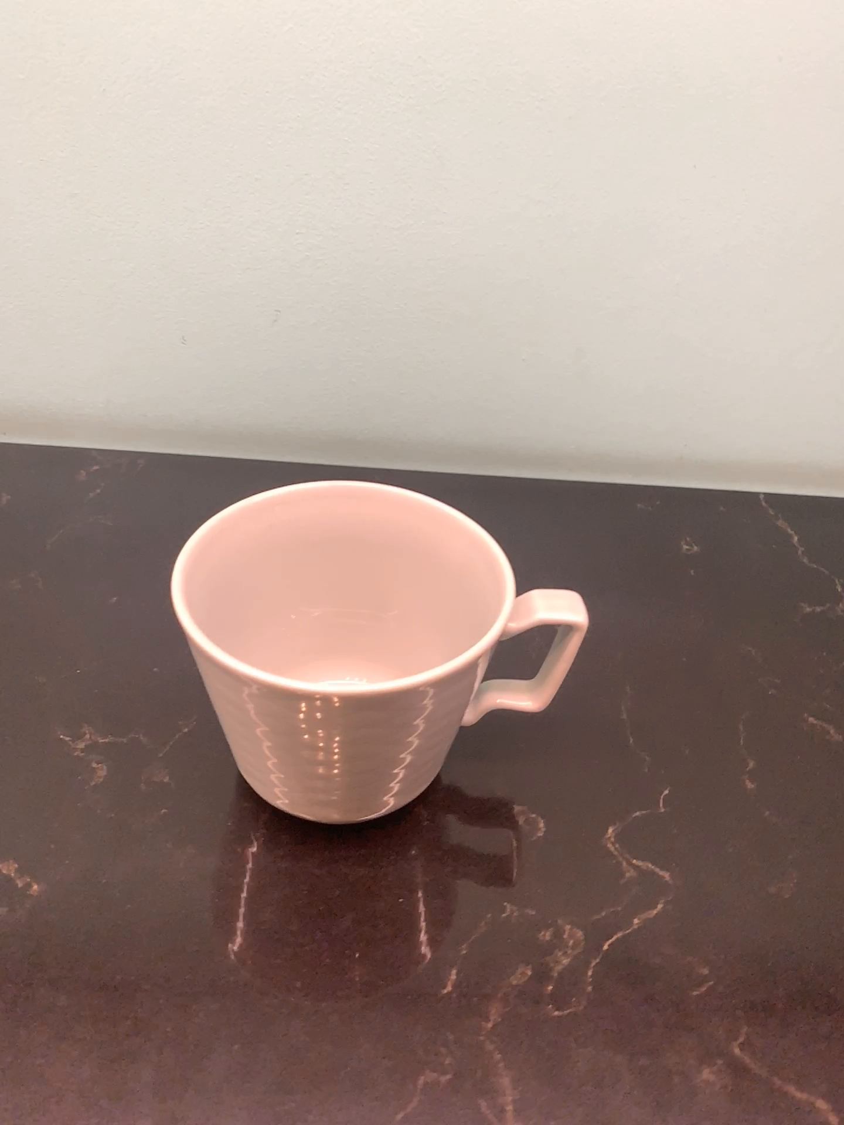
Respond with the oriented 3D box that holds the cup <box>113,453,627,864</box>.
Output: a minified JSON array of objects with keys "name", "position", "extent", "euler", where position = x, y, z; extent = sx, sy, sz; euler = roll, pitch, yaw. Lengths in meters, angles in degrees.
[{"name":"cup","position":[-0.015,0.029,0.284],"extent":[0.130,0.080,0.100],"euler":[3,38,-3]}]
